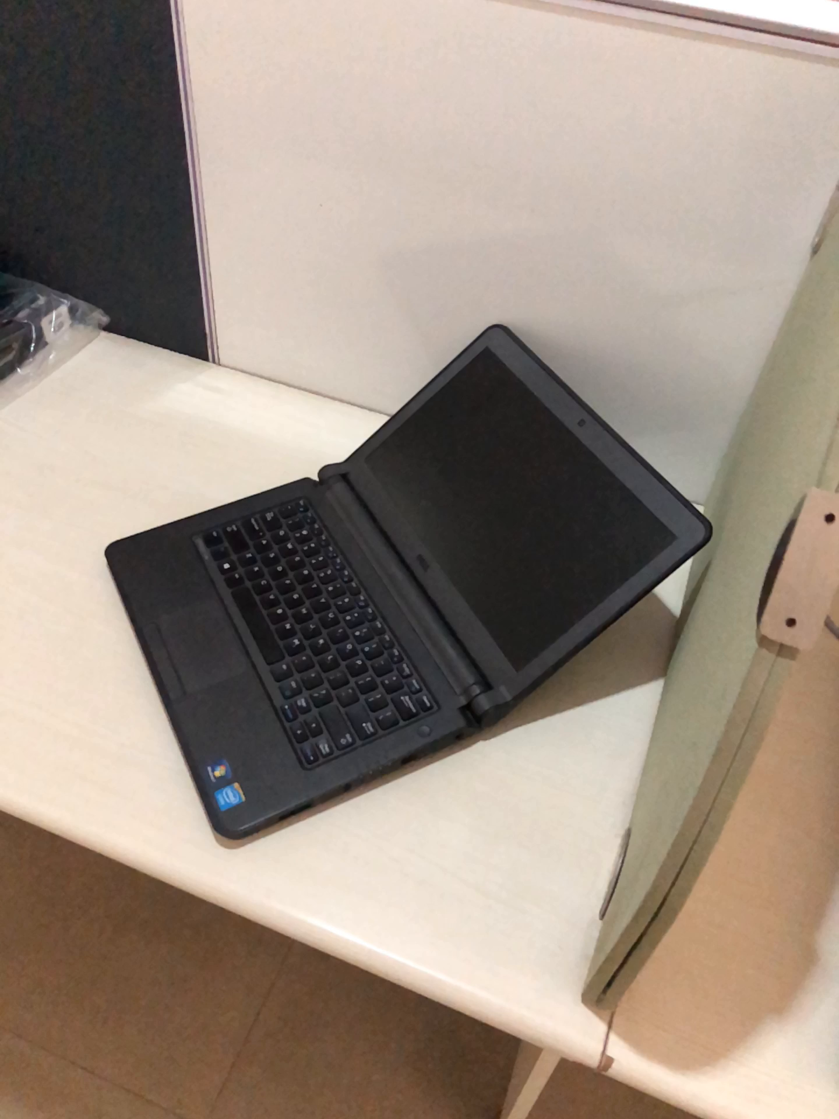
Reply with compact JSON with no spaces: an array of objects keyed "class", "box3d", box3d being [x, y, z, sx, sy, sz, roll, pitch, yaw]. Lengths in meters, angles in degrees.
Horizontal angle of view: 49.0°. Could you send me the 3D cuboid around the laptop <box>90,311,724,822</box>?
[{"class":"laptop","box3d":[-0.026,-0.026,0.758,0.395,0.128,0.311,-20,49,-18]}]
